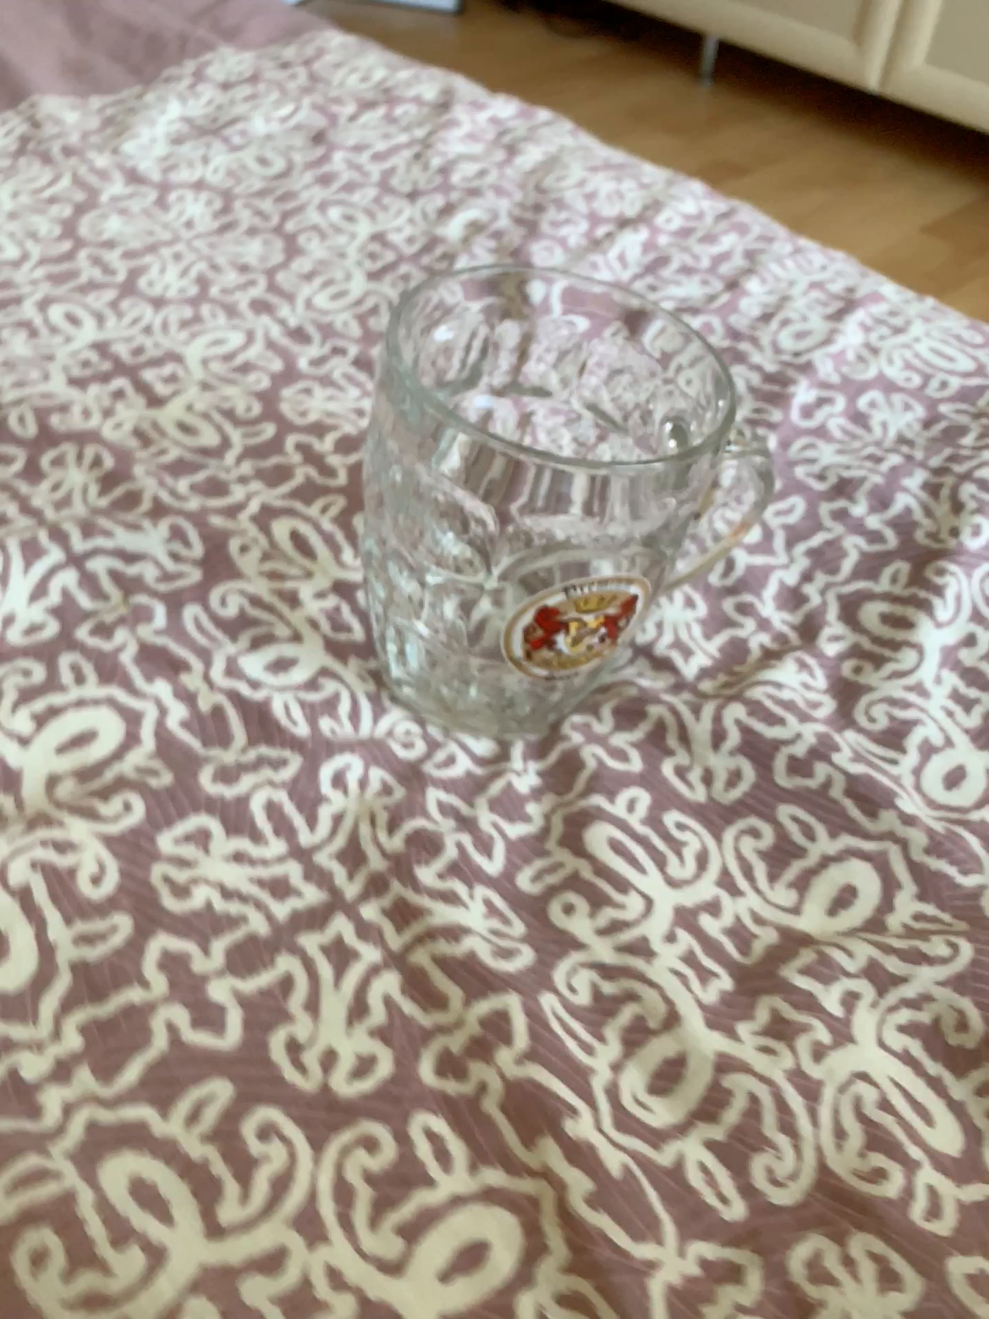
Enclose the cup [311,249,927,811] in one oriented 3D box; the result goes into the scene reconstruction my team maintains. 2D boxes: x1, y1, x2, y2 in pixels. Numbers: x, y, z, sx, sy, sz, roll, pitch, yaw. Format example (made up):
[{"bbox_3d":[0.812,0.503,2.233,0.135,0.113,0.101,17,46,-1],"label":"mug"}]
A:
[{"bbox_3d":[0.023,-0.039,0.286,0.117,0.099,0.093,-14,52,-24],"label":"cup"}]
